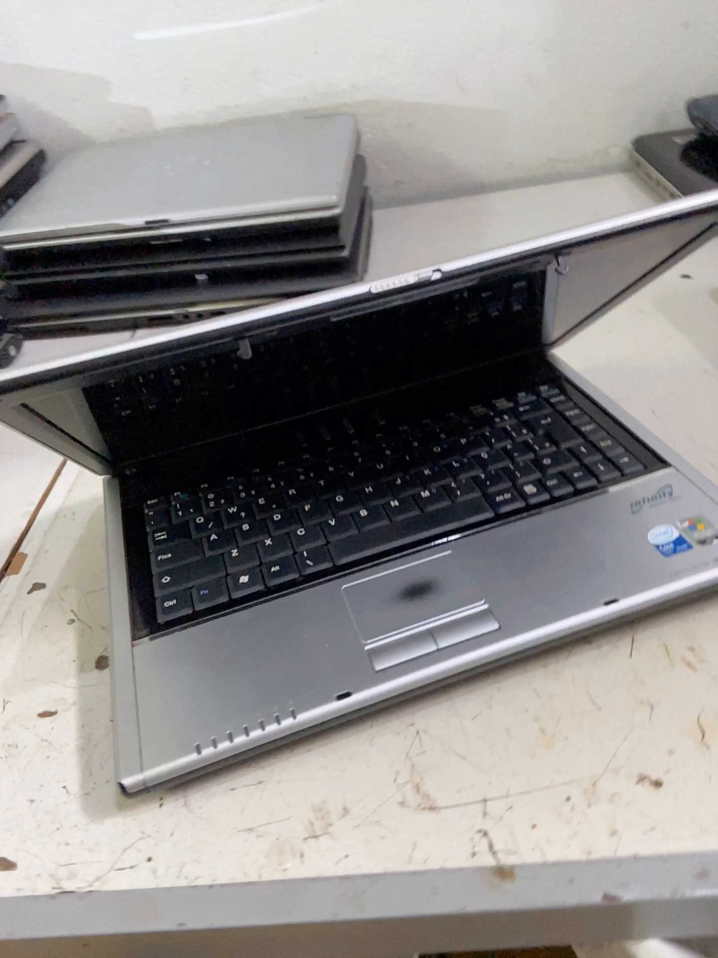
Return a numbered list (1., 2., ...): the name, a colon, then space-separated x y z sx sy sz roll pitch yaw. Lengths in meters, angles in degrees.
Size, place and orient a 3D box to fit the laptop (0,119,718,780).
1. laptop: 0.009 -0.045 0.383 0.330 0.164 0.228 -17 37 -10
